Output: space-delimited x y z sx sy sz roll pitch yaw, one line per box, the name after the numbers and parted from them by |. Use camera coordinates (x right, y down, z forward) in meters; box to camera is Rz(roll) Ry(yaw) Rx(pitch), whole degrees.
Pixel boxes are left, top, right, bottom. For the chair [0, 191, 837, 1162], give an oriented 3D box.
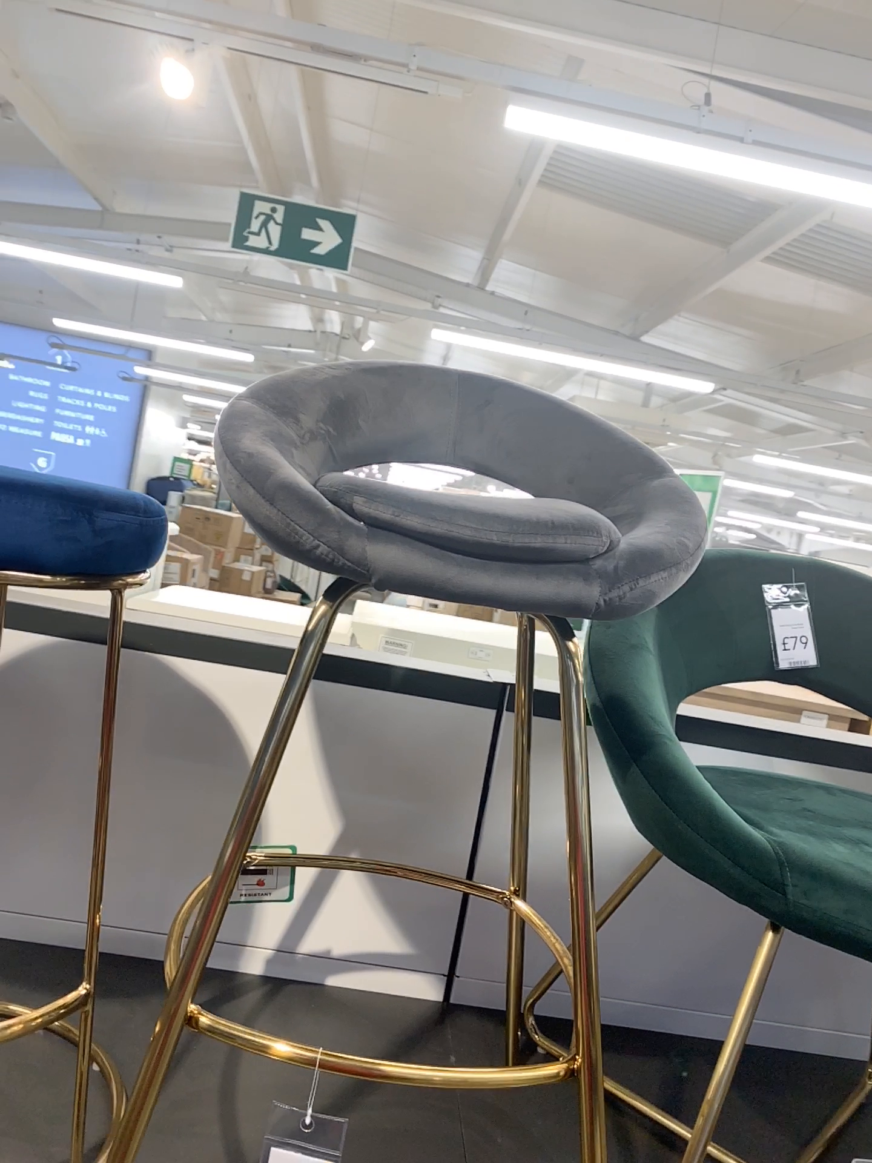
-0.033 0.175 0.909 0.486 0.873 0.475 10 3 -5 | chair
